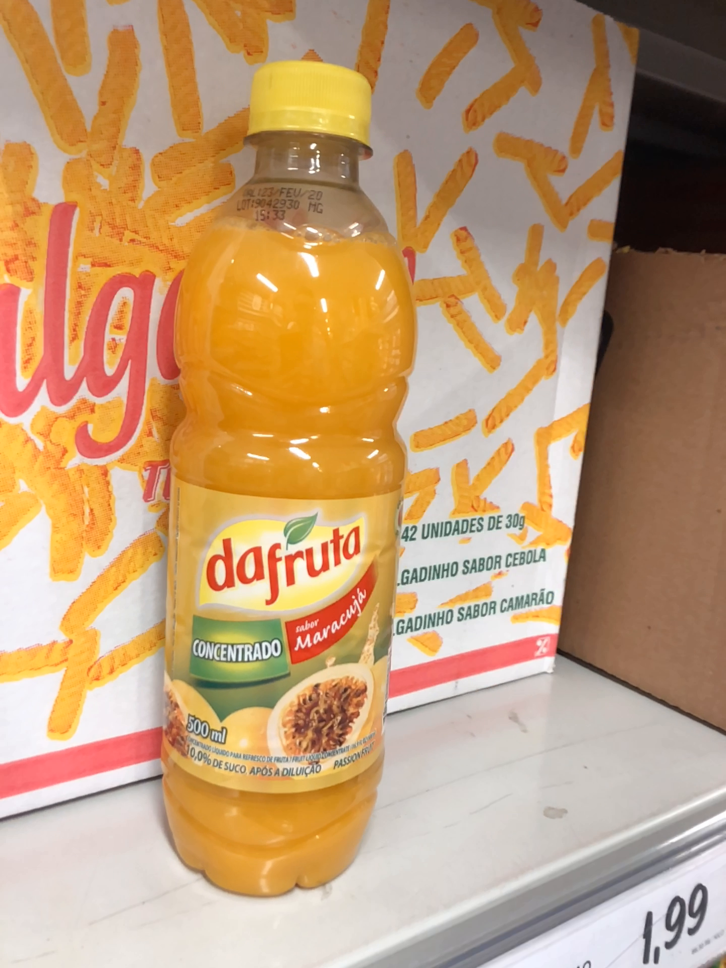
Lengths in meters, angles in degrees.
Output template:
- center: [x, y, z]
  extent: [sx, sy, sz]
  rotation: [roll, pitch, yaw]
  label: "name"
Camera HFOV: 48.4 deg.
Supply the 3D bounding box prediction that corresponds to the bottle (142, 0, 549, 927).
- center: [-0.014, 0.000, 0.205]
  extent: [0.070, 0.199, 0.060]
  rotation: [1, 14, -19]
  label: "bottle"
